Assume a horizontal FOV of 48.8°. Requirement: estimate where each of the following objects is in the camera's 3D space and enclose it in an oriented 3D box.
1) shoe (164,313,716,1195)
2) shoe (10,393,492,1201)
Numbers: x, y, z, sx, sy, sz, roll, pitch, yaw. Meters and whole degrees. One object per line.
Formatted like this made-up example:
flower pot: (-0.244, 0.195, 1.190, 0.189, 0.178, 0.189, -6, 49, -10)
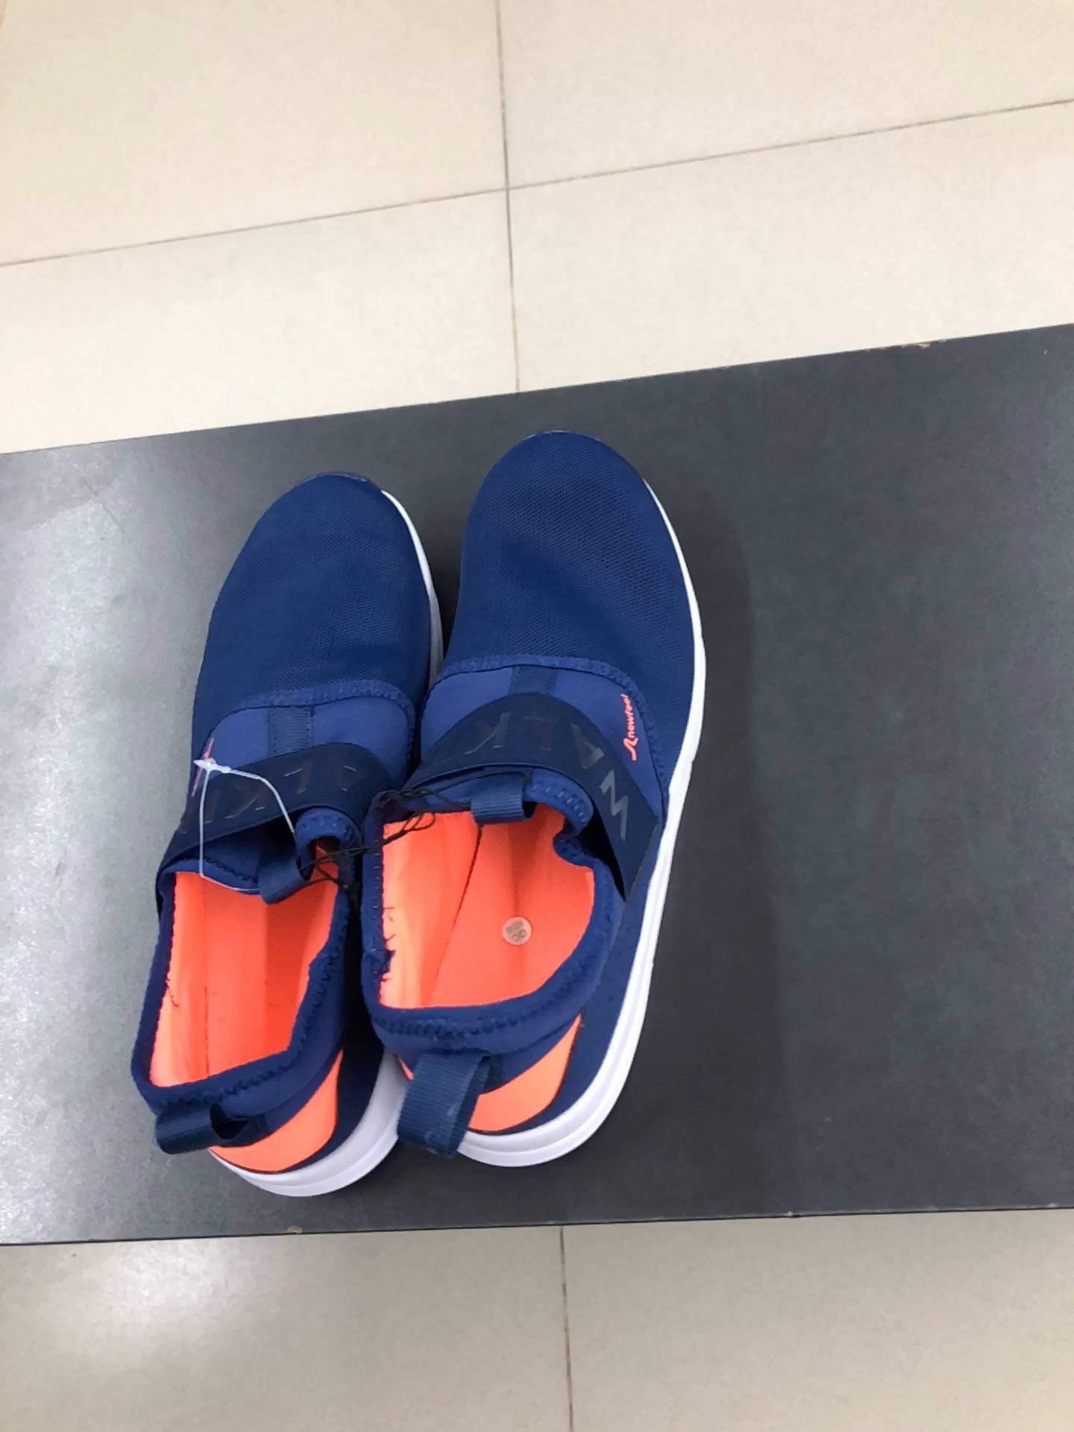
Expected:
shoe: (-0.011, 0.015, 0.373, 0.110, 0.120, 0.241, 0, 68, 16)
shoe: (-0.083, 0.033, 0.427, 0.110, 0.120, 0.261, -3, 68, 8)
